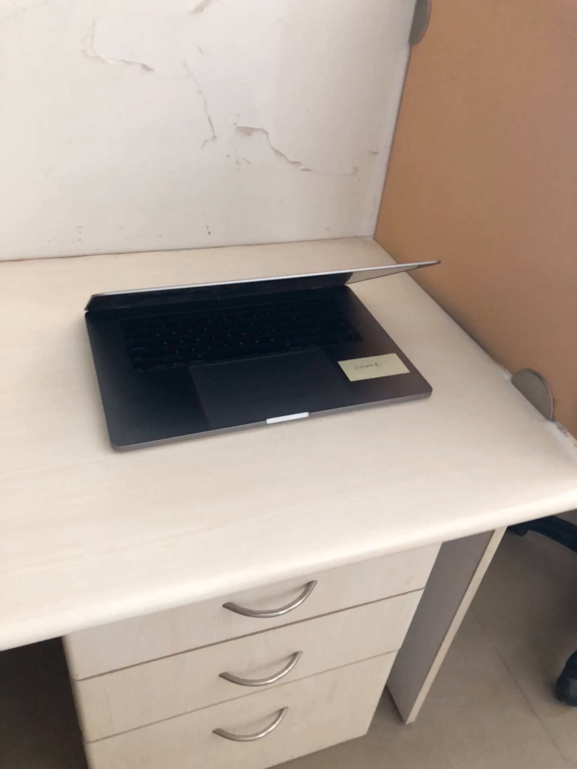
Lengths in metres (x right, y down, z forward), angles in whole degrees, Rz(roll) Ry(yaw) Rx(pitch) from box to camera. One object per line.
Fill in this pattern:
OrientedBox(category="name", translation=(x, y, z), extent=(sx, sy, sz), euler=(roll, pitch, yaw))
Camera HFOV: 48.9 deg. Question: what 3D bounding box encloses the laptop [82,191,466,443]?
OrientedBox(category="laptop", translation=(-0.033, -0.092, 0.671), extent=(0.330, 0.133, 0.234), euler=(-8, 39, -19))
